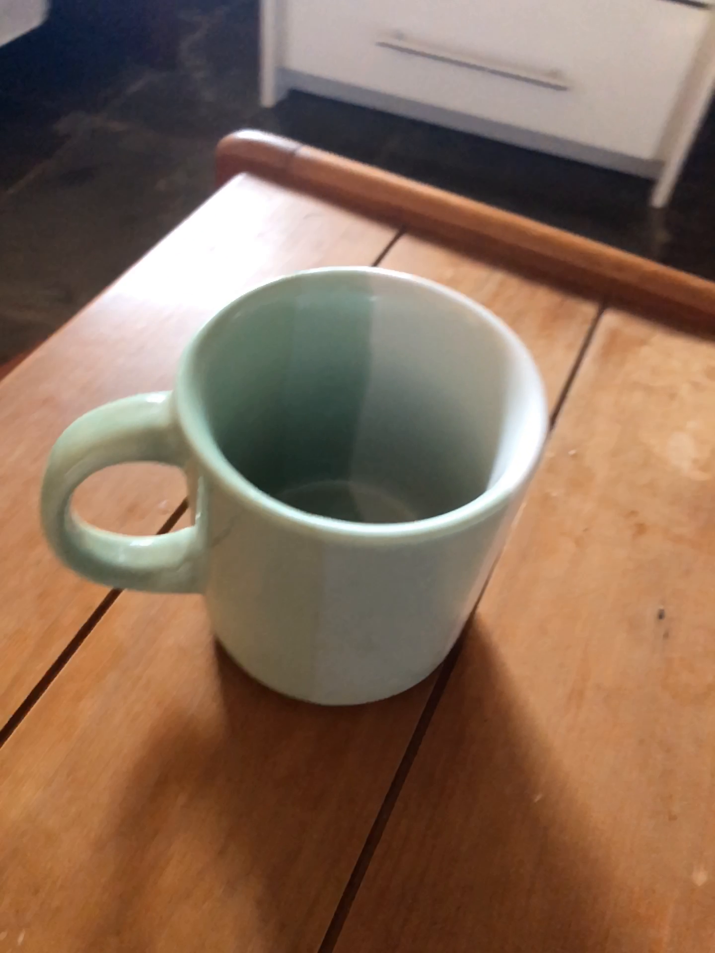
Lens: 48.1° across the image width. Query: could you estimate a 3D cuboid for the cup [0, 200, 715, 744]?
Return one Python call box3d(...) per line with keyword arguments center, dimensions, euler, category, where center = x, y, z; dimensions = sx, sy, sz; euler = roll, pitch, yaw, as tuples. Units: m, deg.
box3d(center=(-0.002, -0.002, 0.188), dimensions=(0.130, 0.089, 0.080), euler=(-4, 51, -11), category="cup")
